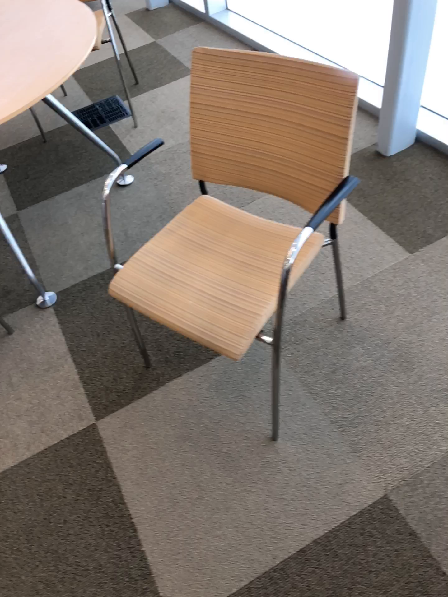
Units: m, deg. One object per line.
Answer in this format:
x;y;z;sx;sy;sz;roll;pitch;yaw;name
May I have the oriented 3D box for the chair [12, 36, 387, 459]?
0.014;-0.107;1.254;0.516;0.797;0.547;24;58;27;chair
